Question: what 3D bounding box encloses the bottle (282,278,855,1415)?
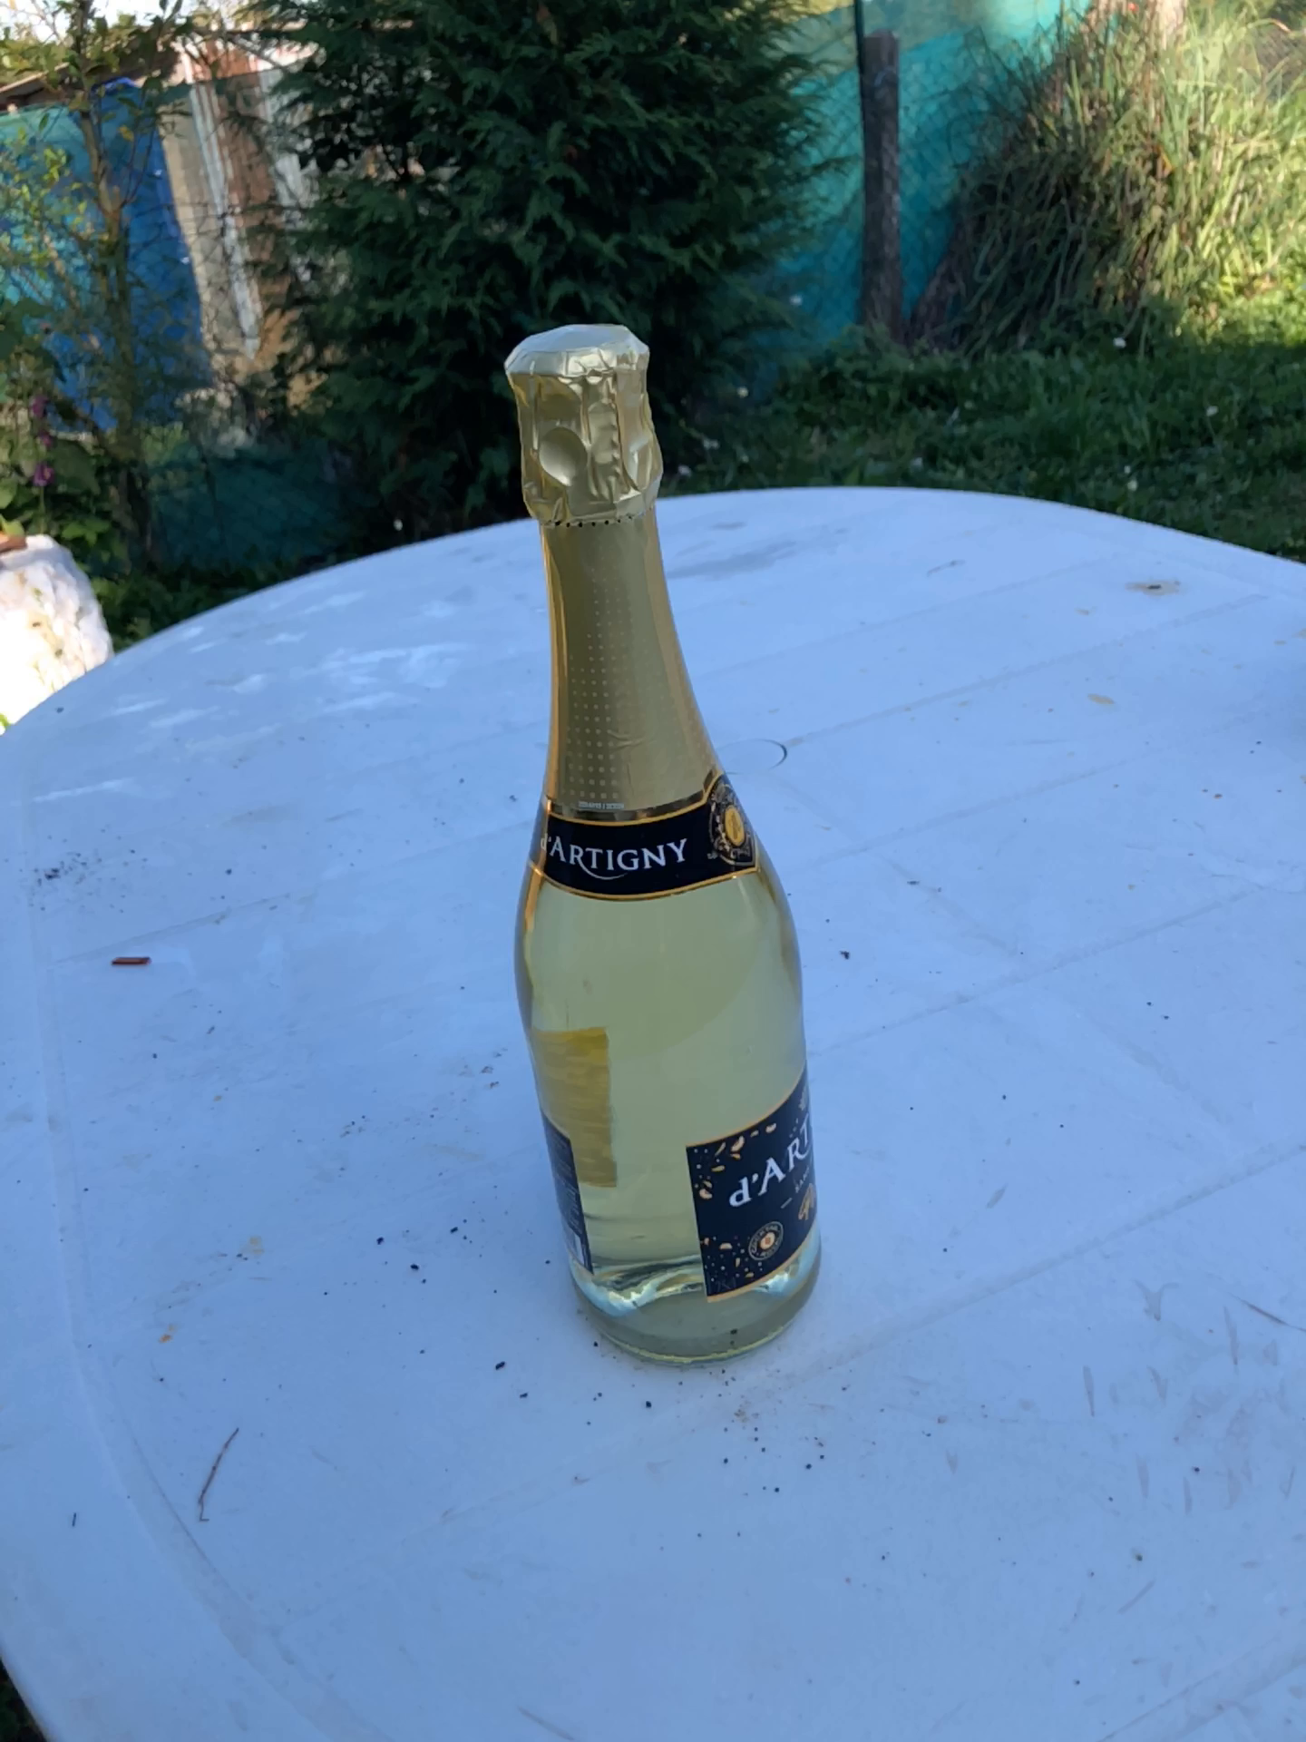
[{"bbox_3d":[-0.005,0.004,0.401,0.090,0.298,0.091,-5,30,3],"label":"bottle"}]
